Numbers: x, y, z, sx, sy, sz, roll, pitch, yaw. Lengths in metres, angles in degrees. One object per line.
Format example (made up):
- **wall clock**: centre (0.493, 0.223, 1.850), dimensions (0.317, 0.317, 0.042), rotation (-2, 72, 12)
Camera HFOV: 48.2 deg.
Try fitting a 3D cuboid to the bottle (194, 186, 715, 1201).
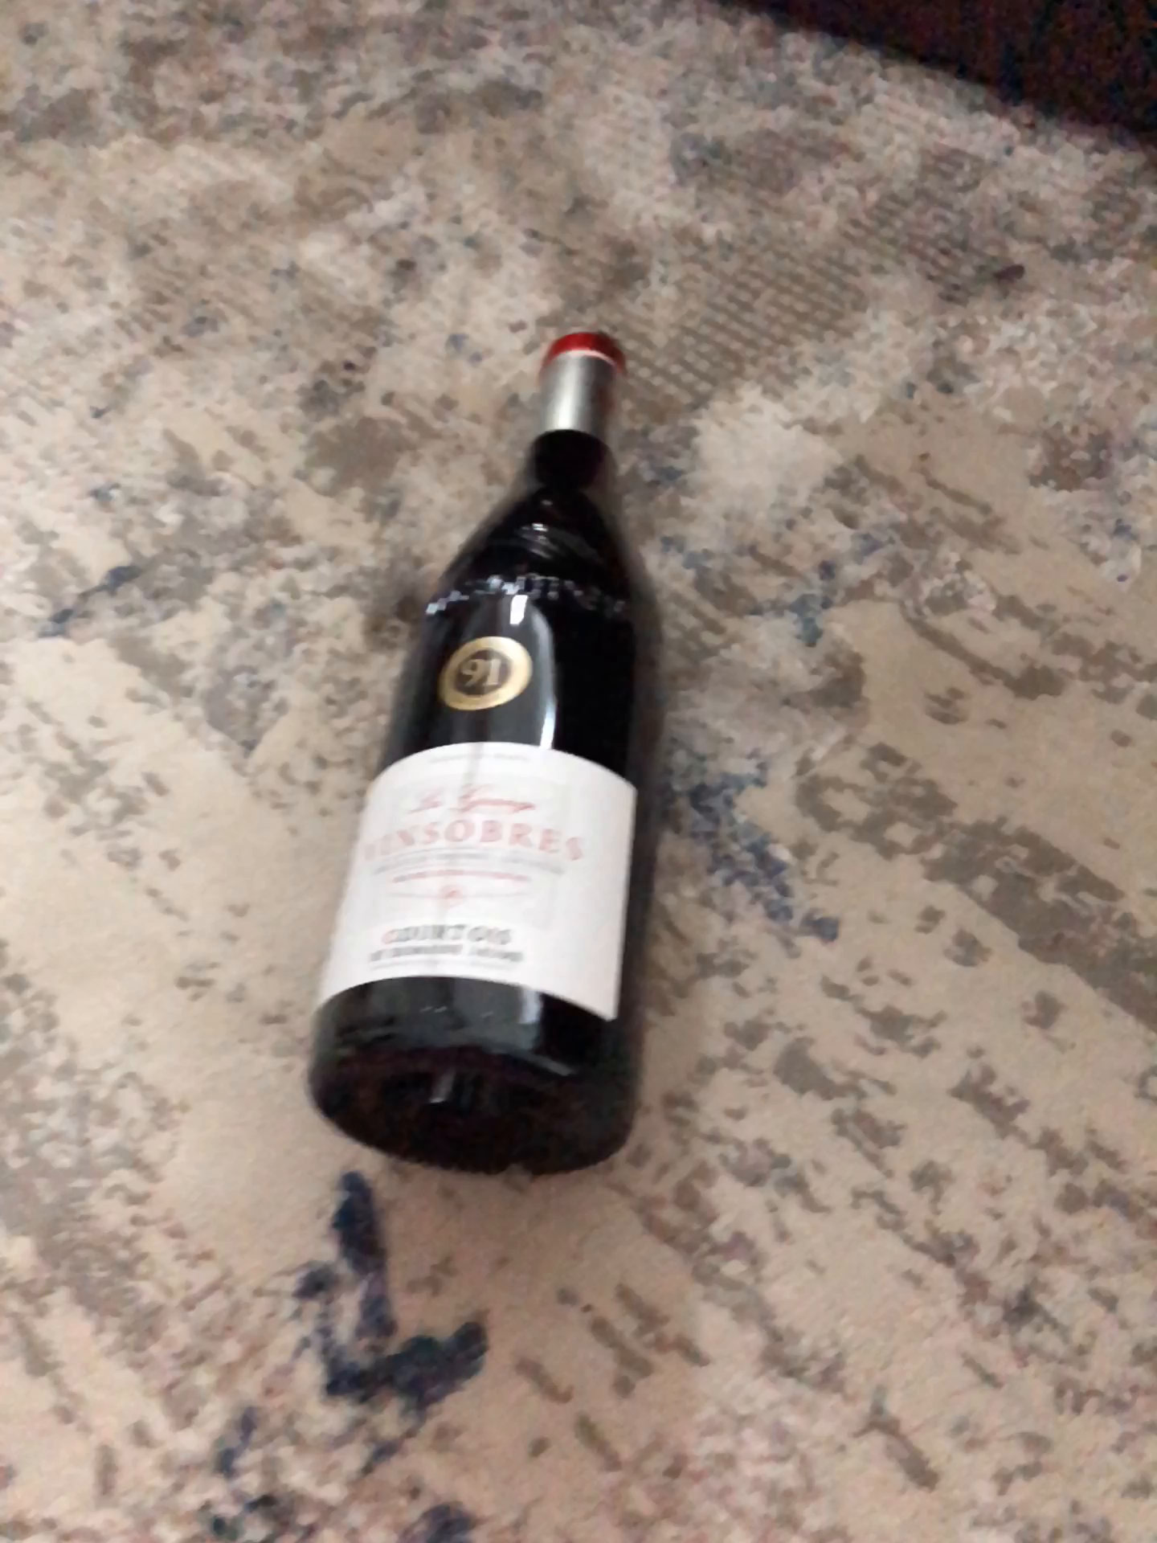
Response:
- **bottle**: centre (-0.013, -0.041, 0.386), dimensions (0.090, 0.100, 0.300), rotation (1, 55, 10)
